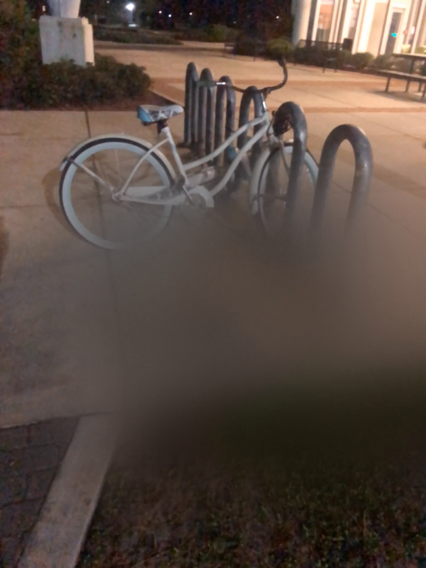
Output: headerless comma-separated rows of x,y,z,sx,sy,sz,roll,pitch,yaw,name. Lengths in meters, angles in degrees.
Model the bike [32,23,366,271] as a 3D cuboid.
-0.055,-0.903,2.838,1.679,1.094,0.744,-9,30,-14,bike
